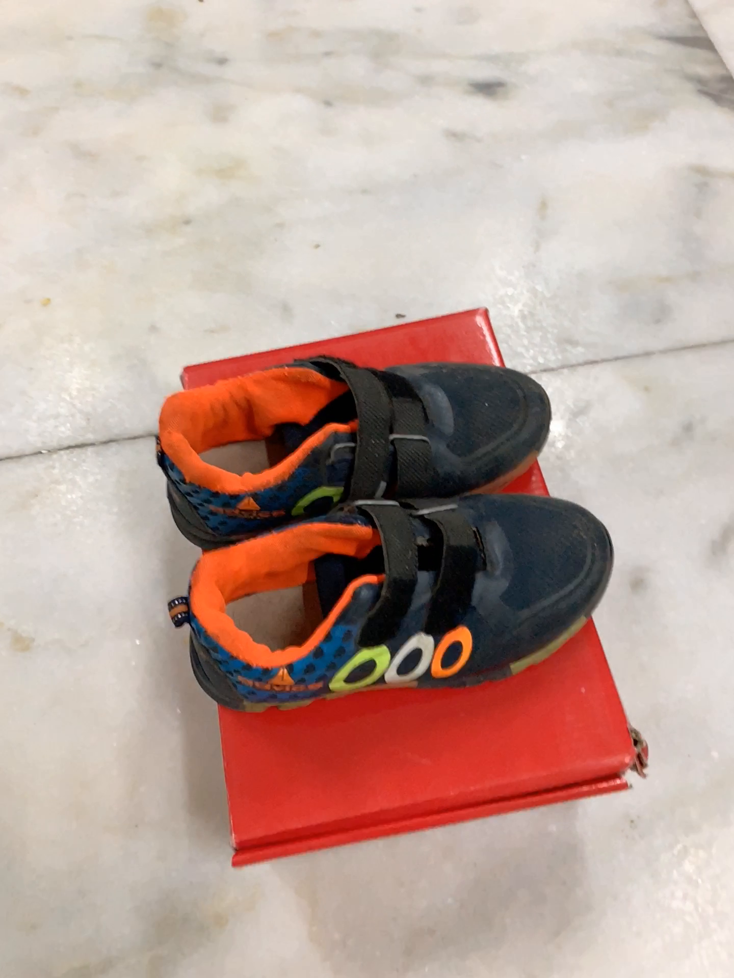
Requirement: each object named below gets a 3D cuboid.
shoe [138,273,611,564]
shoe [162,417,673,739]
[{"bbox_3d":[0.001,-0.034,0.390,0.210,0.080,0.080,-12,64,-3],"label":"shoe"},{"bbox_3d":[0.019,0.047,0.373,0.210,0.090,0.090,-12,64,-3],"label":"shoe"}]
